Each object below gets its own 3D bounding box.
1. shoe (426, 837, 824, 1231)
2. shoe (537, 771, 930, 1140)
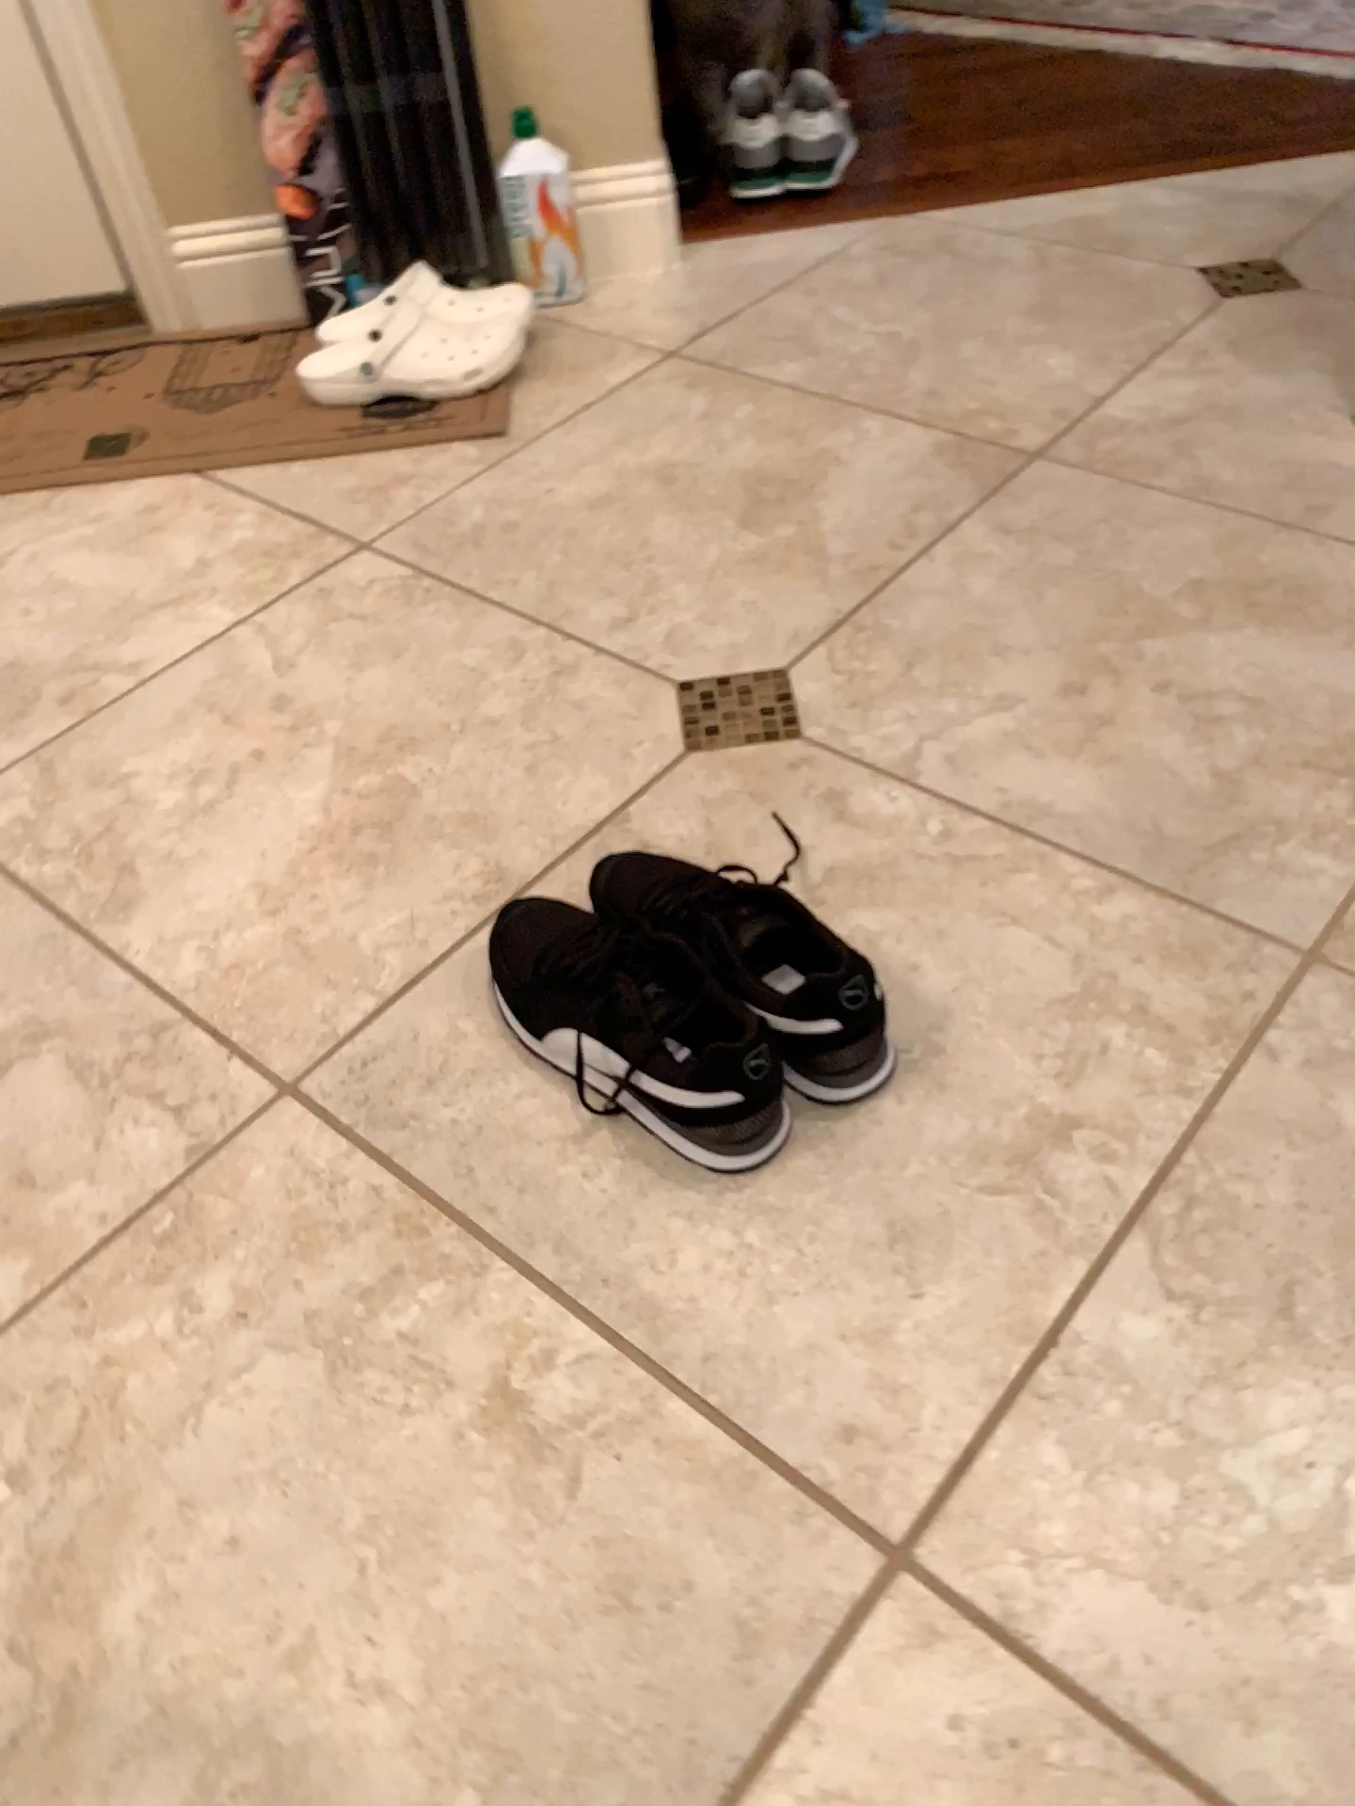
[{"bbox_3d":[-0.038,0.078,0.935,0.108,0.095,0.270,-35,51,-26],"label":"shoe"},{"bbox_3d":[0.035,0.028,0.975,0.108,0.095,0.270,-36,51,-25],"label":"shoe"}]
